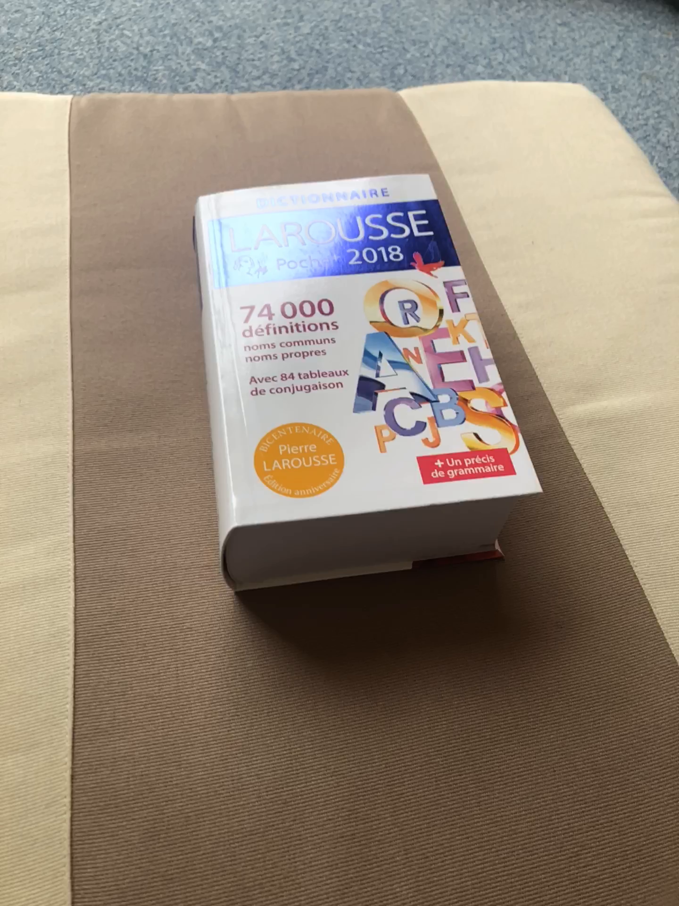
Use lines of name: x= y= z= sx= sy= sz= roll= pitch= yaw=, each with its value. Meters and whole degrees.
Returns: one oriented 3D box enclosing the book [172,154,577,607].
book: x=-0.001 y=-0.045 z=0.331 sx=0.130 sy=0.060 sz=0.201 roll=-5 pitch=54 yaw=-9
